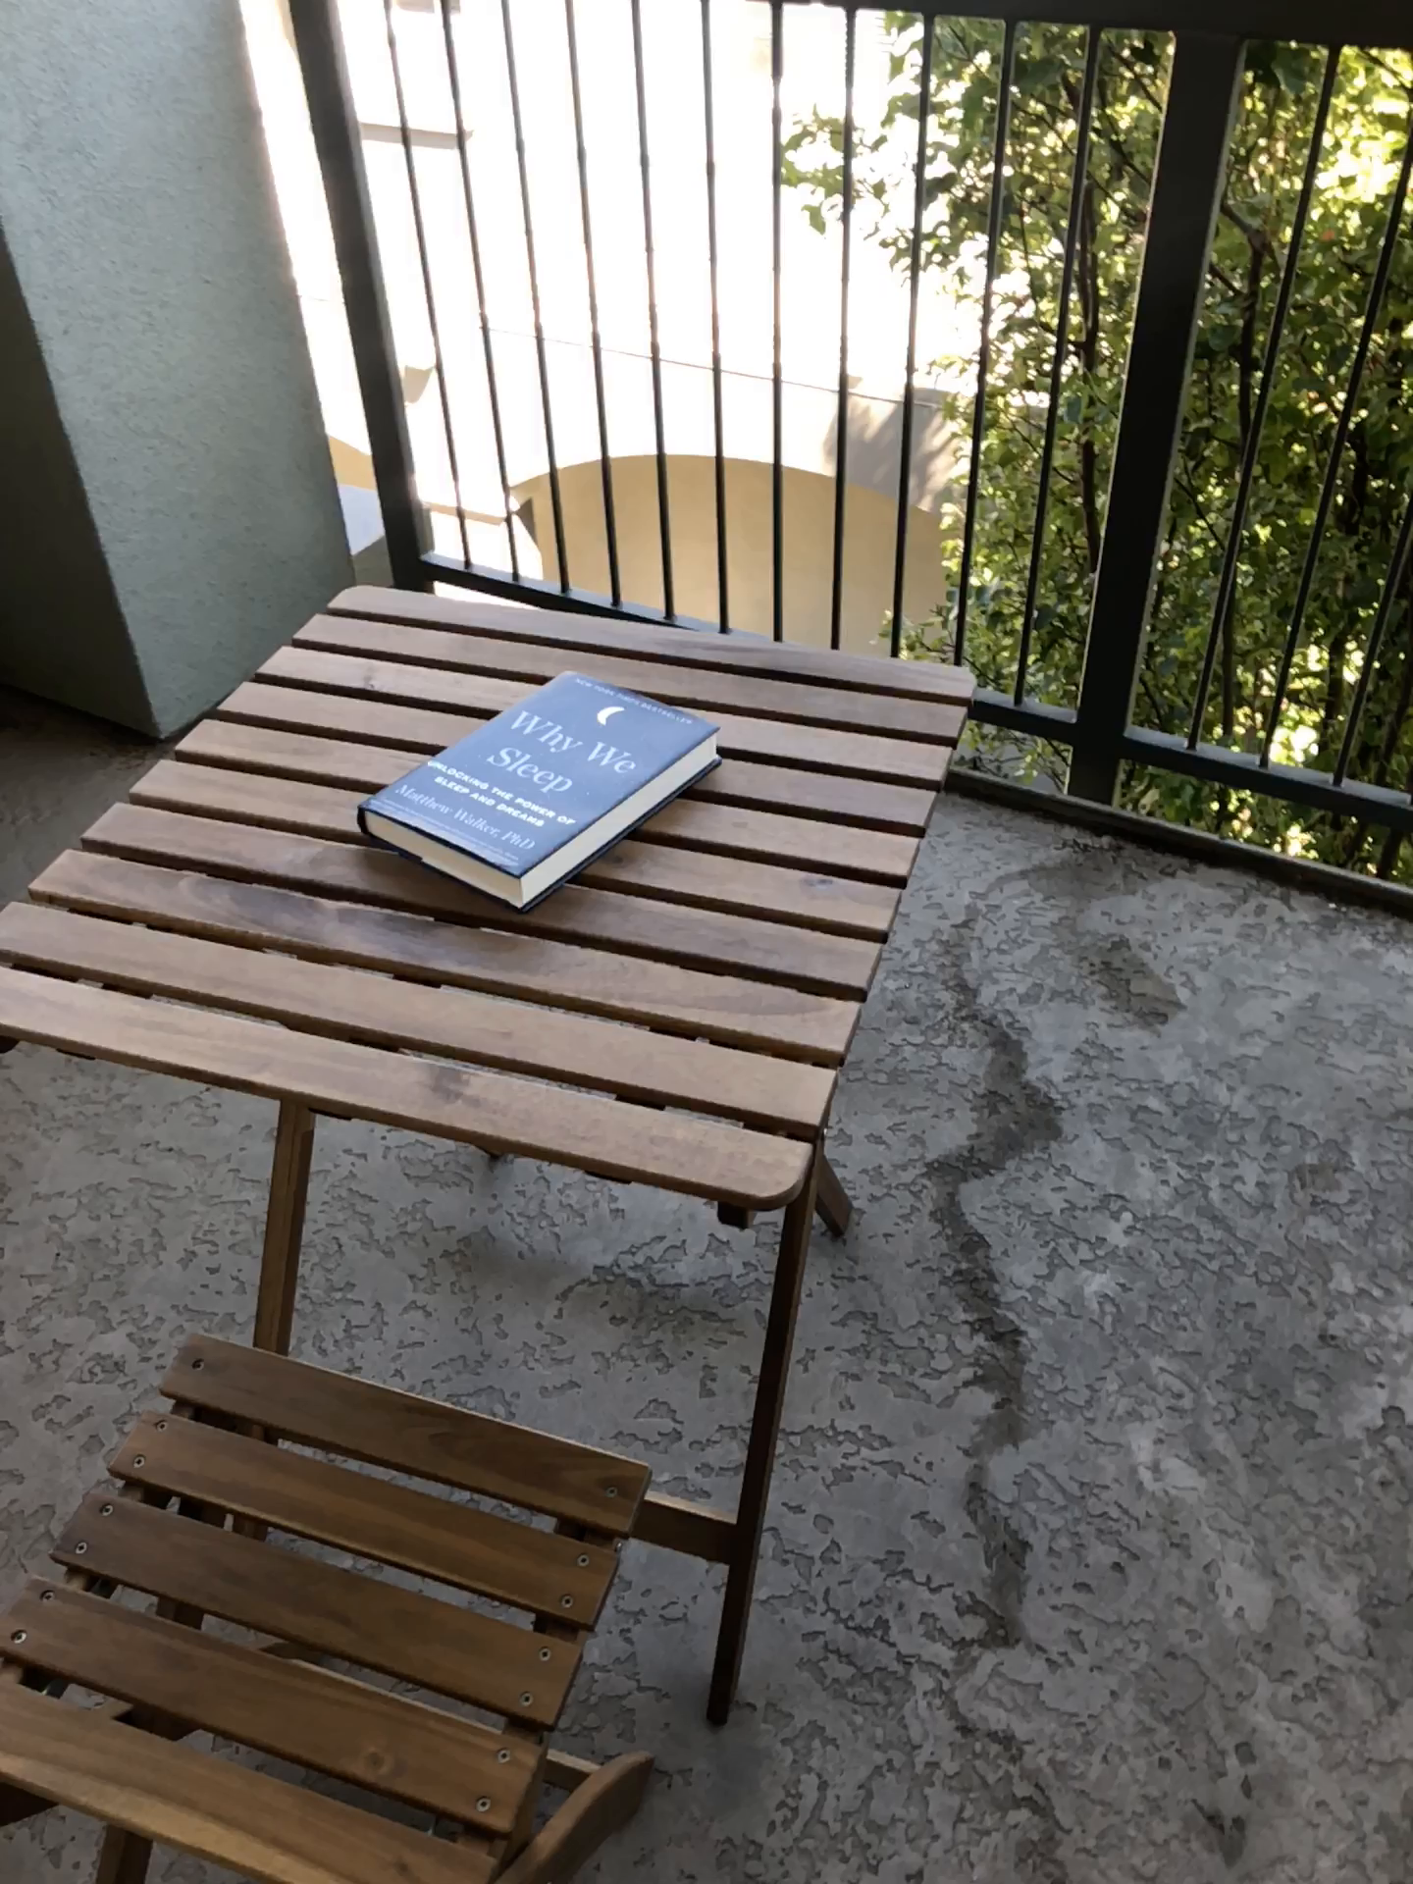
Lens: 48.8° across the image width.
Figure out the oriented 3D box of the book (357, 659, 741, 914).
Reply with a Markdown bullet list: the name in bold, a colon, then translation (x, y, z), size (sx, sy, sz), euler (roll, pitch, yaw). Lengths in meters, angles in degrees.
- **book**: translation (-0.113, -0.124, 1.163), size (0.170, 0.029, 0.235), euler (26, 48, 29)
